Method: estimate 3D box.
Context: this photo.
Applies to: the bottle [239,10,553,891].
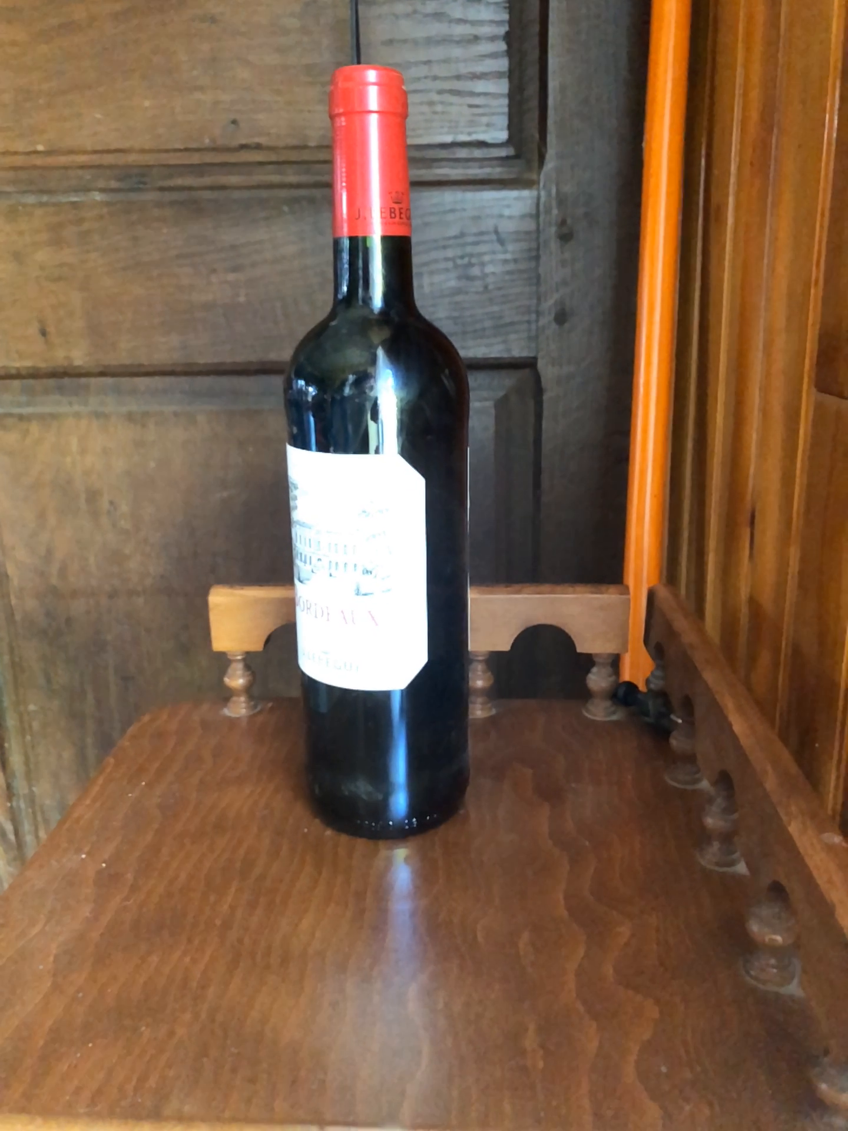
[{"bbox_3d":[-0.007,-0.036,0.380,0.080,0.309,0.080,-1,16,0],"label":"bottle"}]
